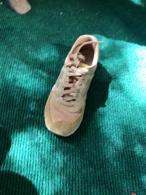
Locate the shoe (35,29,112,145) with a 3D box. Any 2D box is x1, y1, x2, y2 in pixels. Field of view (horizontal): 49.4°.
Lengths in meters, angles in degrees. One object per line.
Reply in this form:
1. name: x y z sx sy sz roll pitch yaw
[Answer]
1. shoe: 0.009 -0.031 0.405 0.110 0.100 0.261 17 65 2
